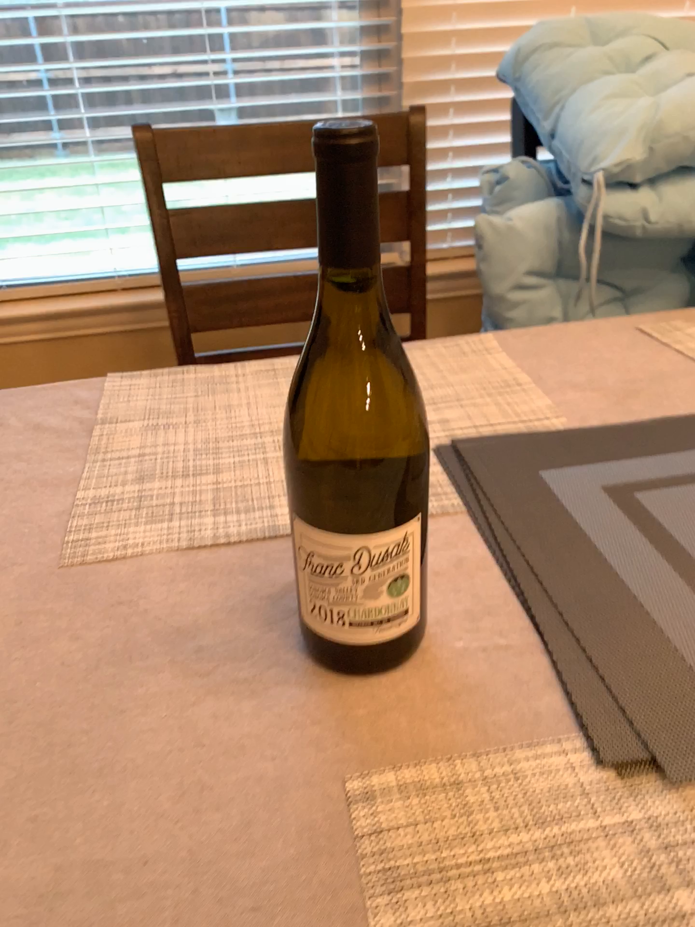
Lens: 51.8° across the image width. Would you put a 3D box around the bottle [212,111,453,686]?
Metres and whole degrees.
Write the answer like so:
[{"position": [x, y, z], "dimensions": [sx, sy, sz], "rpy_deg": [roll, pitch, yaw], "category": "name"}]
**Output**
[{"position": [0.004, -0.018, 0.374], "dimensions": [0.090, 0.288, 0.080], "rpy_deg": [1, 31, 6], "category": "bottle"}]
